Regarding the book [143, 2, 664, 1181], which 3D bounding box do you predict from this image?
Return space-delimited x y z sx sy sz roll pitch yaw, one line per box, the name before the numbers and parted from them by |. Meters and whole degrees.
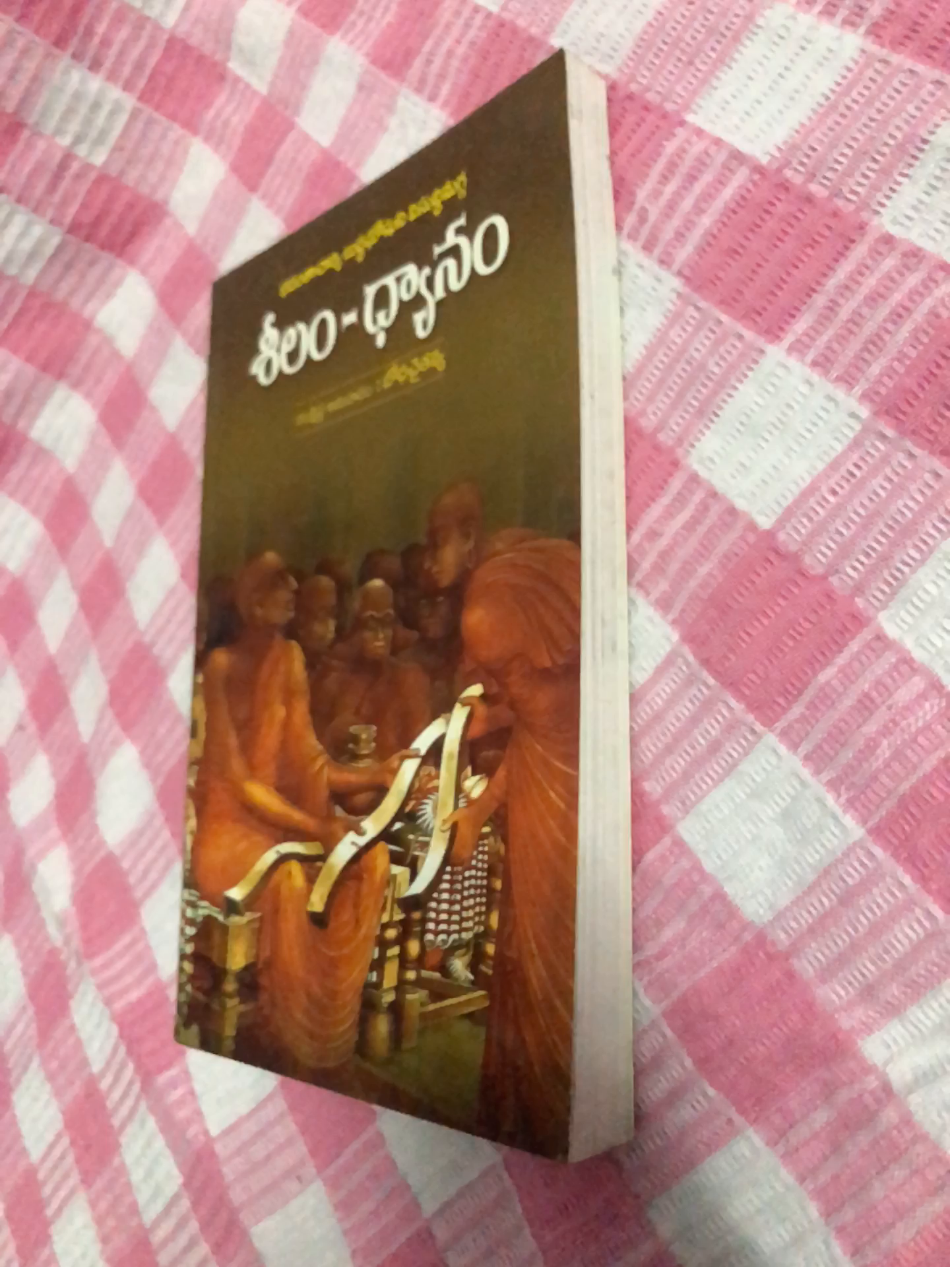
book | -0.026 -0.007 0.242 0.140 0.020 0.210 -9 78 43
